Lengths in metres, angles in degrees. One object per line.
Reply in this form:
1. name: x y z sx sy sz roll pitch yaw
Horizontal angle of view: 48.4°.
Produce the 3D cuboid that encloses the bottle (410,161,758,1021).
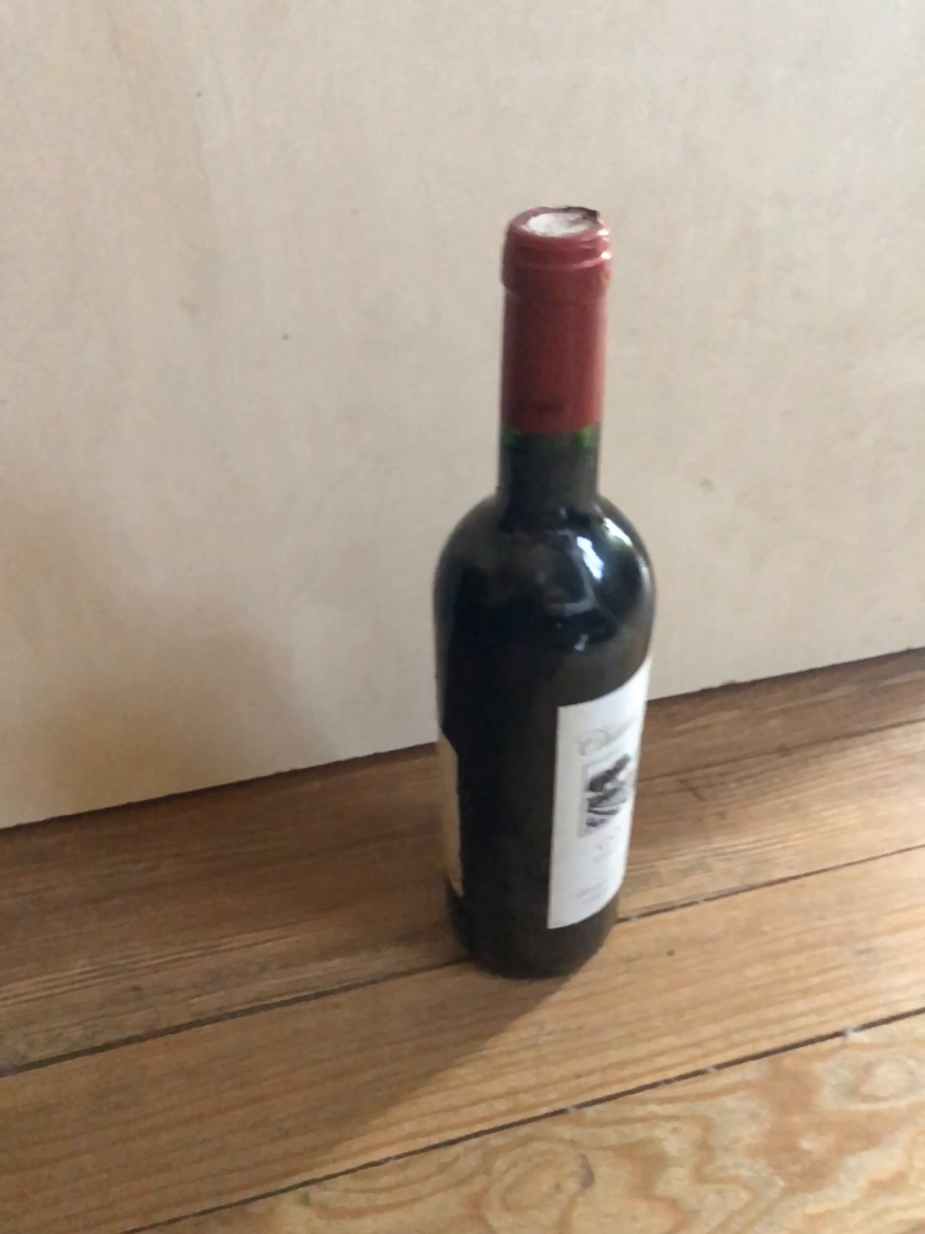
1. bottle: 0.034 0.015 0.342 0.070 0.288 0.081 10 41 12
